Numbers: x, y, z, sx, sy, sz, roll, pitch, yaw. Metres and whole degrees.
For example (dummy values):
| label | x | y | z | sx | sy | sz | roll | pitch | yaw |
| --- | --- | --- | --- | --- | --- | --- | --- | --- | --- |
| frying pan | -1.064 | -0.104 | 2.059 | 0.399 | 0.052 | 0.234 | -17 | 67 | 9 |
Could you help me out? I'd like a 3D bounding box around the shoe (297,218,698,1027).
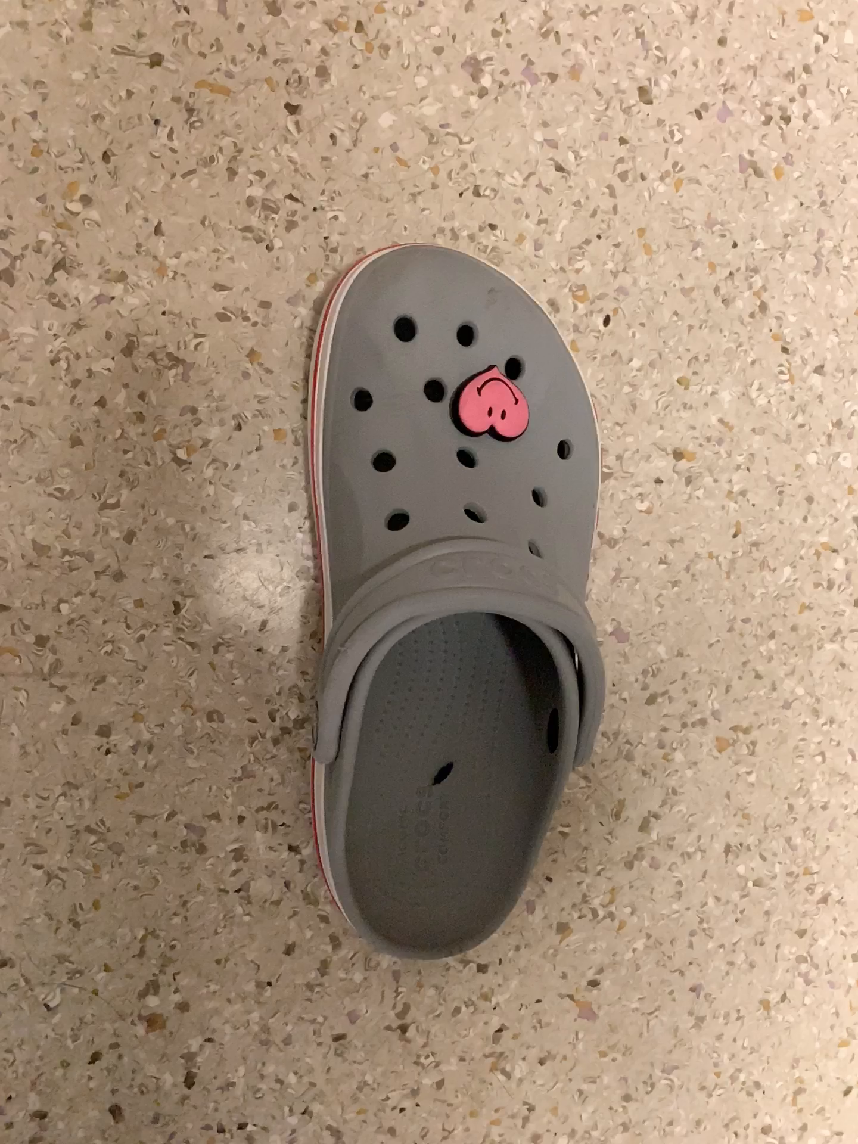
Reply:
| label | x | y | z | sx | sy | sz | roll | pitch | yaw |
| --- | --- | --- | --- | --- | --- | --- | --- | --- | --- |
| shoe | 0.015 | 0.014 | 0.303 | 0.109 | 0.091 | 0.226 | 1 | 92 | -14 |
